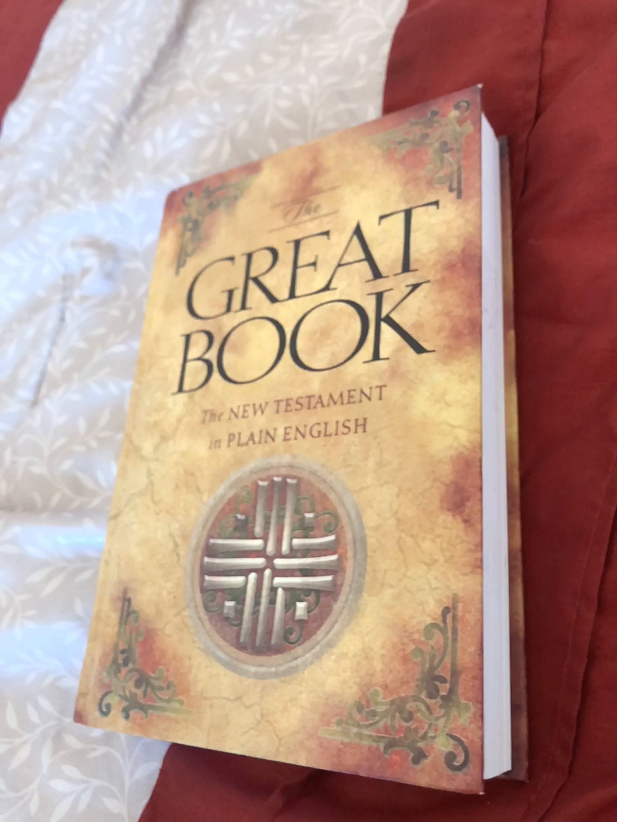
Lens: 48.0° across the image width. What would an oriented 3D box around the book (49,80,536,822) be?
[{"bbox_3d":[-0.007,0.008,0.256,0.161,0.040,0.220,-8,68,33],"label":"book"}]
